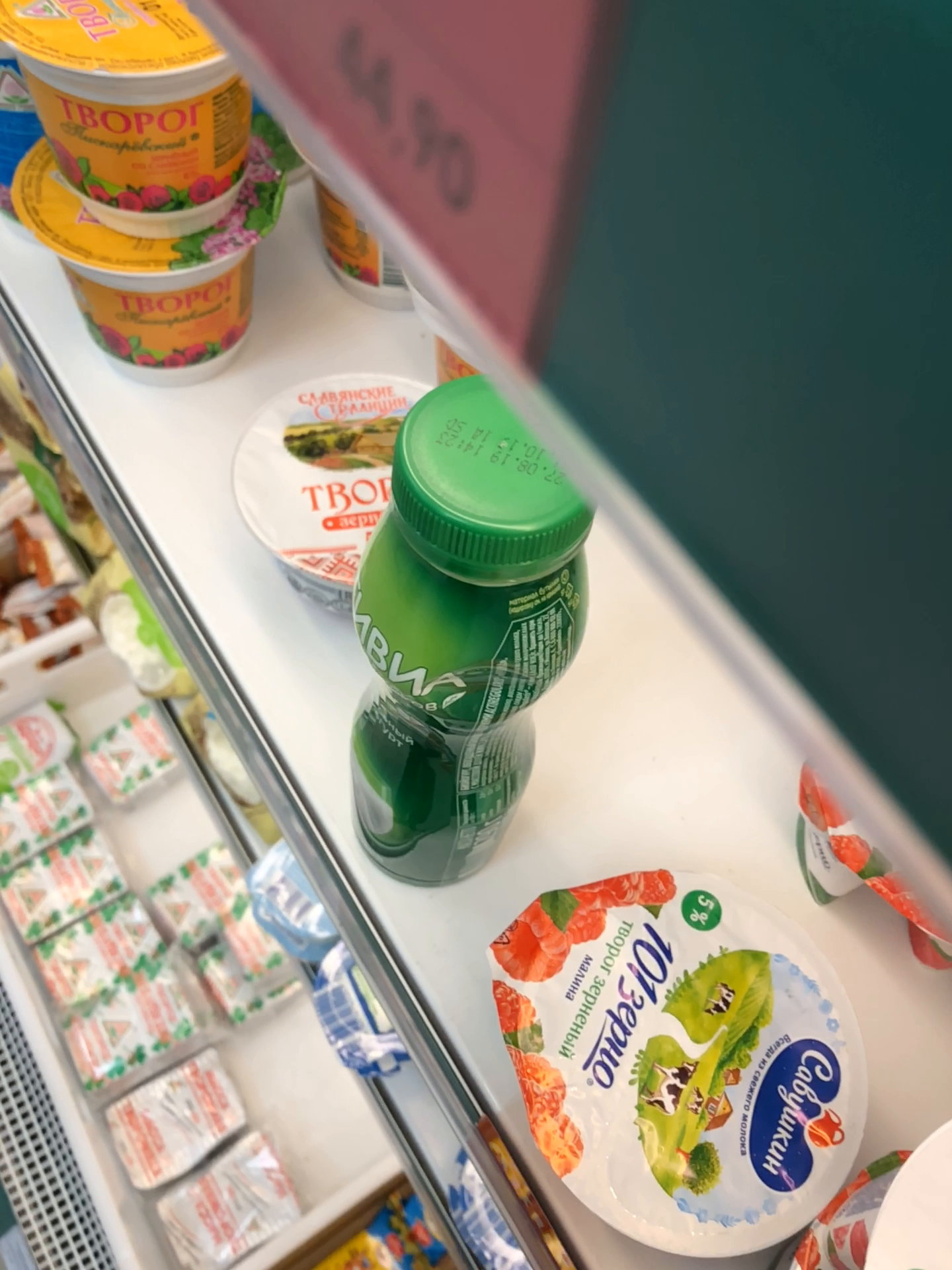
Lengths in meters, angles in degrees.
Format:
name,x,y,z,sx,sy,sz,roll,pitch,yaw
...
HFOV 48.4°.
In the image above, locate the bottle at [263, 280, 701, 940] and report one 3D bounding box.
name,x,y,z,sx,sy,sz,roll,pitch,yaw
bottle,-0.009,0.012,0.273,0.060,0.189,0.070,-14,62,-14
